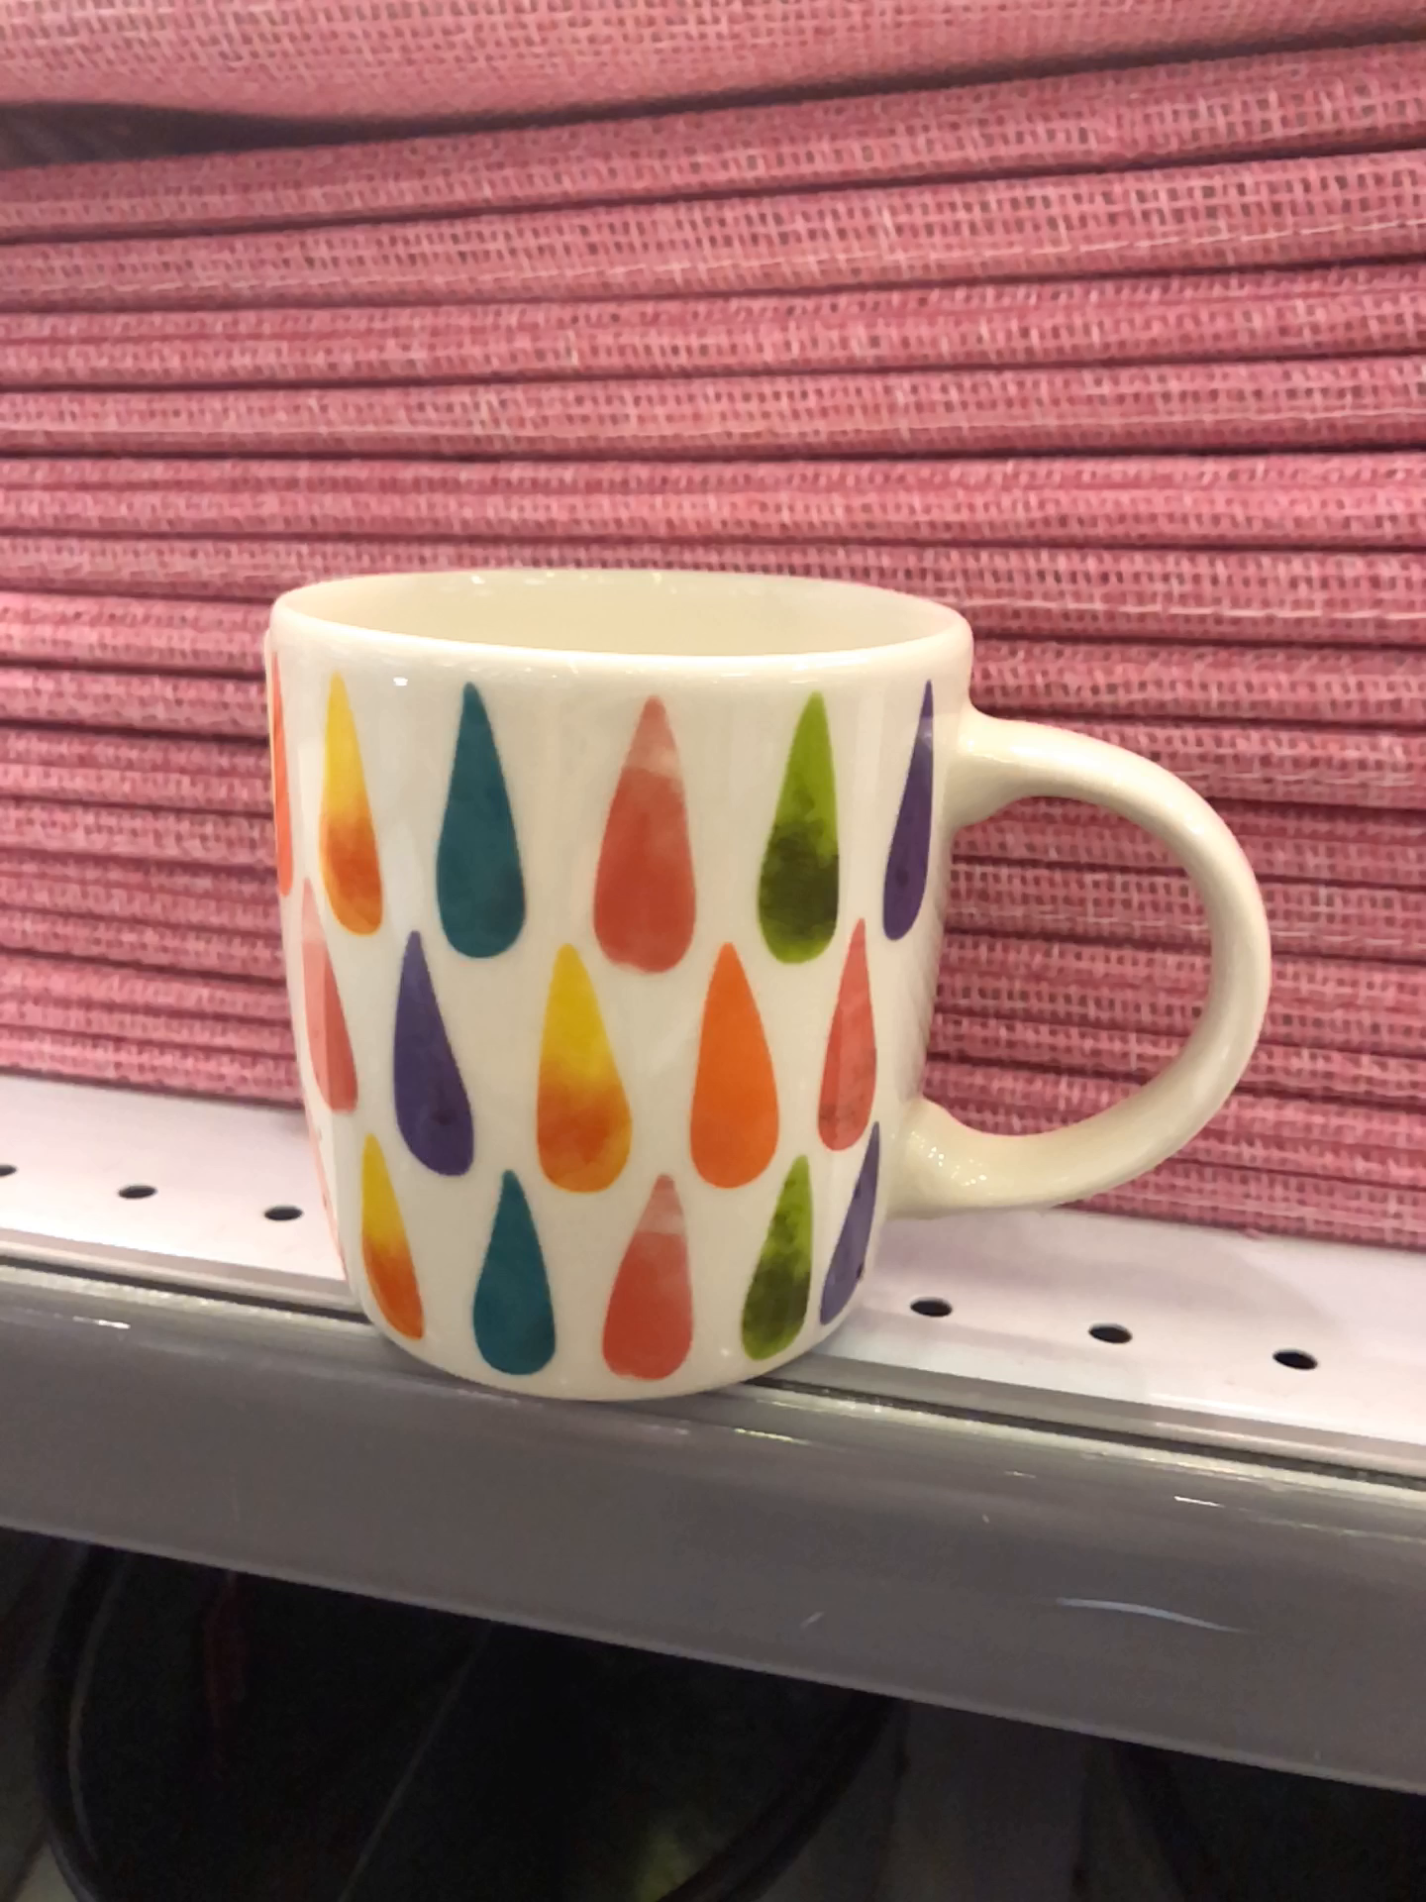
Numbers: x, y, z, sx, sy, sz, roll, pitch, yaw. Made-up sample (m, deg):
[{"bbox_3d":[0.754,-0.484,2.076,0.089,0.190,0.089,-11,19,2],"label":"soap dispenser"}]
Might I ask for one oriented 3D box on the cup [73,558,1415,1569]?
[{"bbox_3d":[0.005,0.002,0.208,0.130,0.089,0.091,6,18,10],"label":"cup"}]
